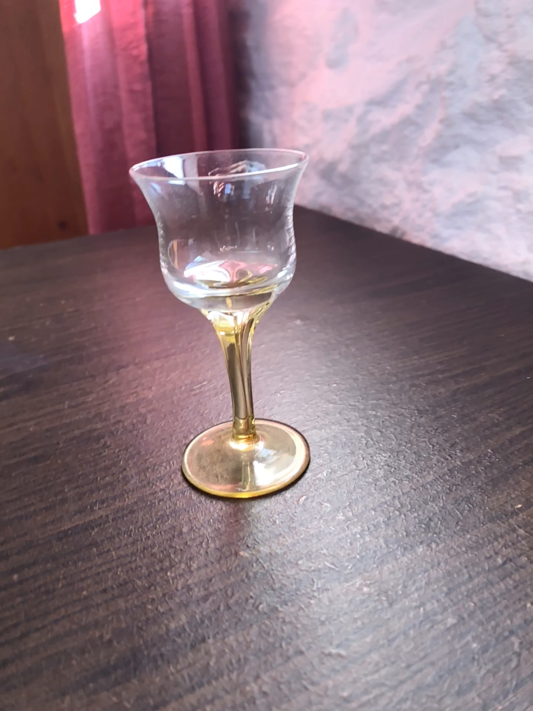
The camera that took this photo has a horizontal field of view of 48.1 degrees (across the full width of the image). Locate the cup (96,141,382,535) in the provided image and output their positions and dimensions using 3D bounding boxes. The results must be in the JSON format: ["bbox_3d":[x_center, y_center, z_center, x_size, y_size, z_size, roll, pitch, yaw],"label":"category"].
[{"bbox_3d":[-0.007,-0.010,0.175,0.059,0.093,0.051,-14,26,-25],"label":"cup"}]
